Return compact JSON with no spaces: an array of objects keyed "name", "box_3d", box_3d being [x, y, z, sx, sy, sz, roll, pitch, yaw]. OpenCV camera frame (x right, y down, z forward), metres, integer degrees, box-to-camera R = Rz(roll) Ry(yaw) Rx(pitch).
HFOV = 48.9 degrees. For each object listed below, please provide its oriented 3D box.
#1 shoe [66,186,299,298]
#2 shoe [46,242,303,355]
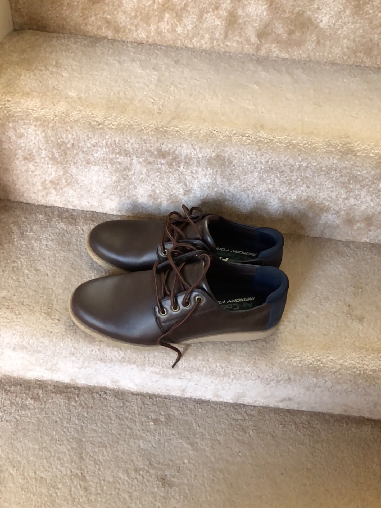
[{"name":"shoe","box_3d":[-0.010,-0.018,0.608,0.300,0.089,0.111,4,50,-1]},{"name":"shoe","box_3d":[-0.019,0.060,0.557,0.300,0.089,0.111,2,50,-2]}]
